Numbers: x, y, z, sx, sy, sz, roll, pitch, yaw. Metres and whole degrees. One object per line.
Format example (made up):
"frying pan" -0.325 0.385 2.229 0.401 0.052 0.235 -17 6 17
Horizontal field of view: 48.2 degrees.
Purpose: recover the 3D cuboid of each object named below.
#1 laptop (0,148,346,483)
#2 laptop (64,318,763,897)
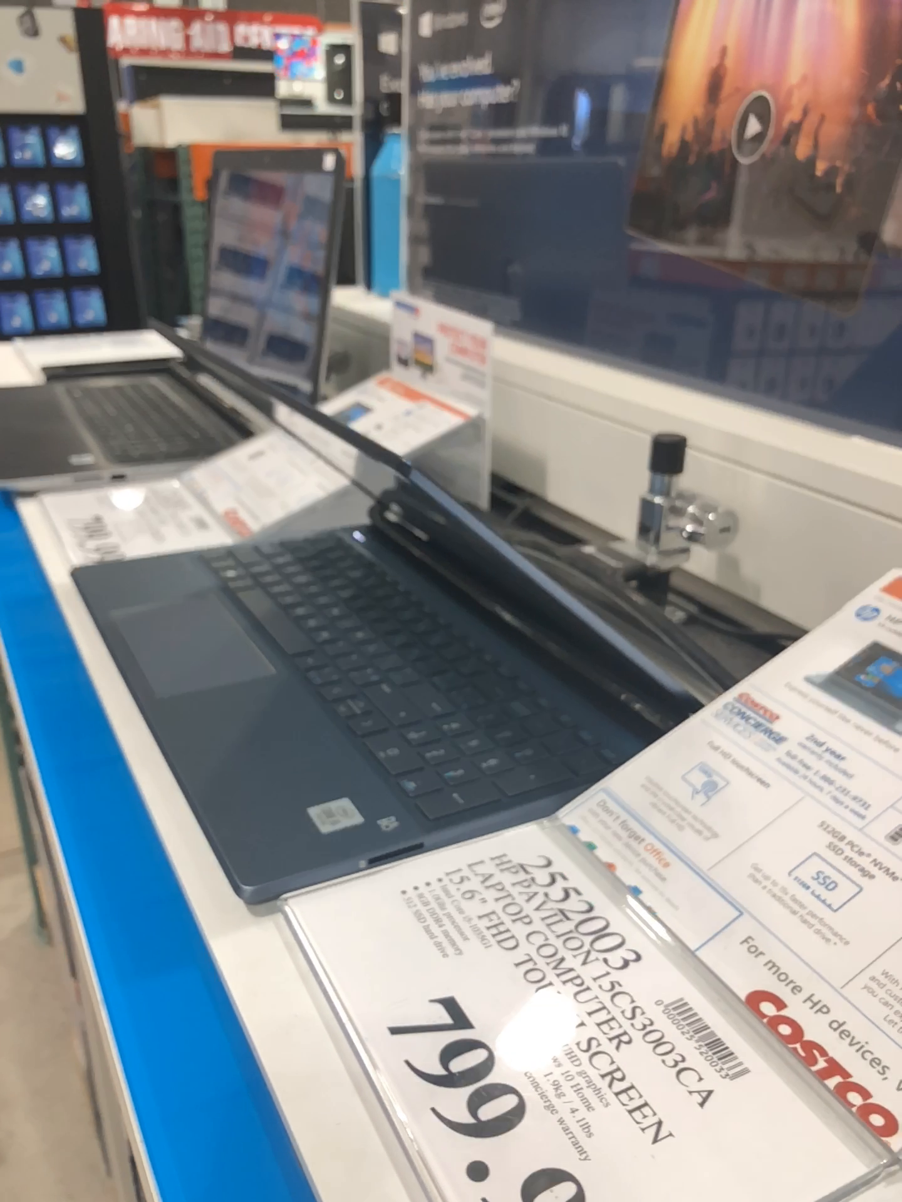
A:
"laptop" -0.292 -0.289 0.923 0.287 0.227 0.344 -13 27 -27
"laptop" -0.051 -0.043 0.524 0.217 0.149 0.348 -11 26 -25
